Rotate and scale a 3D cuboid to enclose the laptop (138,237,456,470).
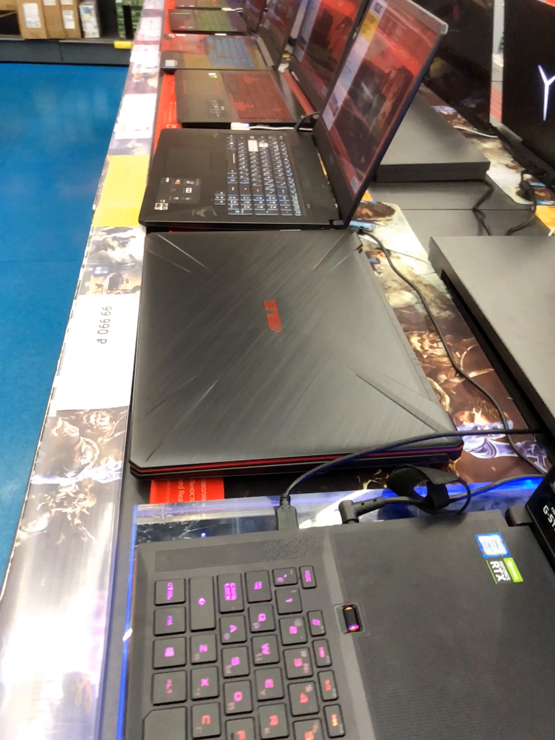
[{"bbox_3d":[-0.005,-0.050,0.626,0.252,0.002,0.390,-2,38,-9],"label":"laptop"}]
